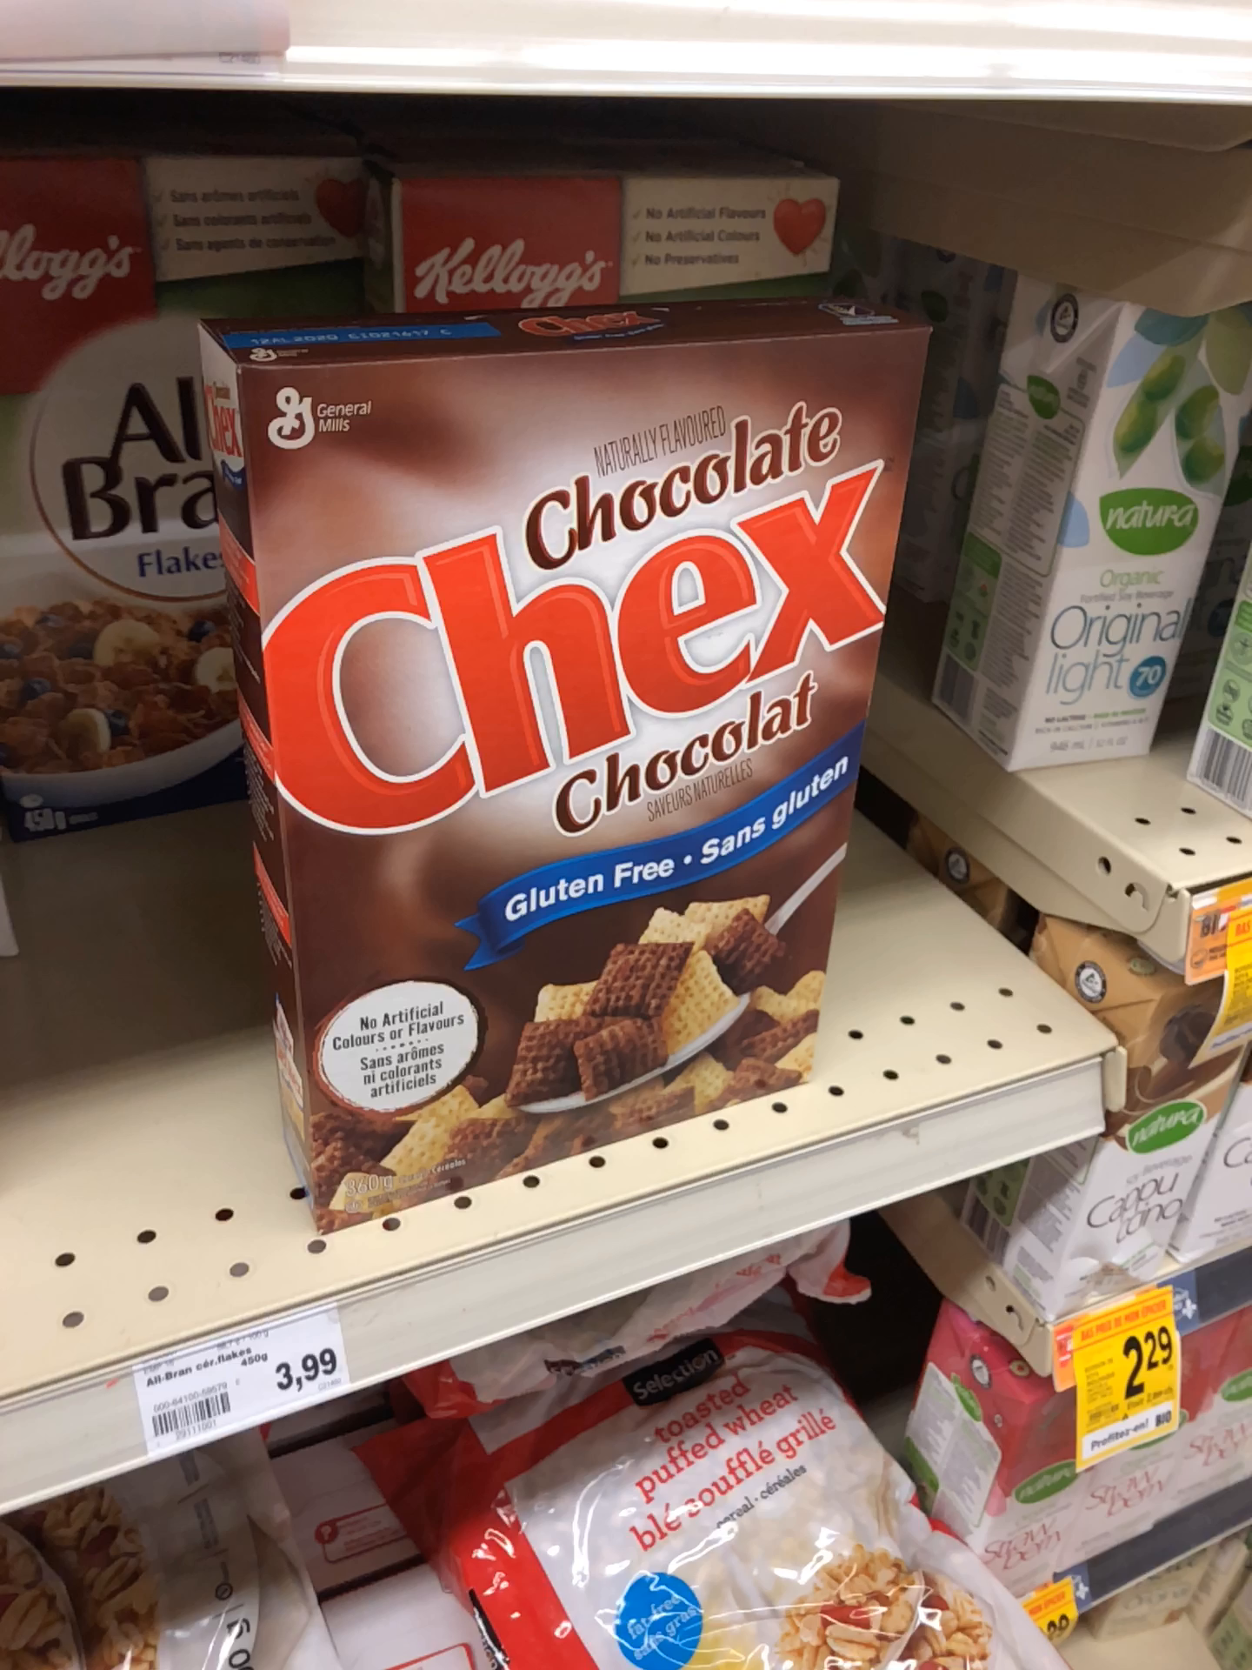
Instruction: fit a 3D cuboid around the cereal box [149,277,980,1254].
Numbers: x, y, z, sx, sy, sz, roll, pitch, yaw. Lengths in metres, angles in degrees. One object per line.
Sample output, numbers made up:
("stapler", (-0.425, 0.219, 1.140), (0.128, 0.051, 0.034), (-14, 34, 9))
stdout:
("cereal box", (-0.017, -0.017, 0.428), (0.210, 0.278, 0.050), (-12, 35, -23))
